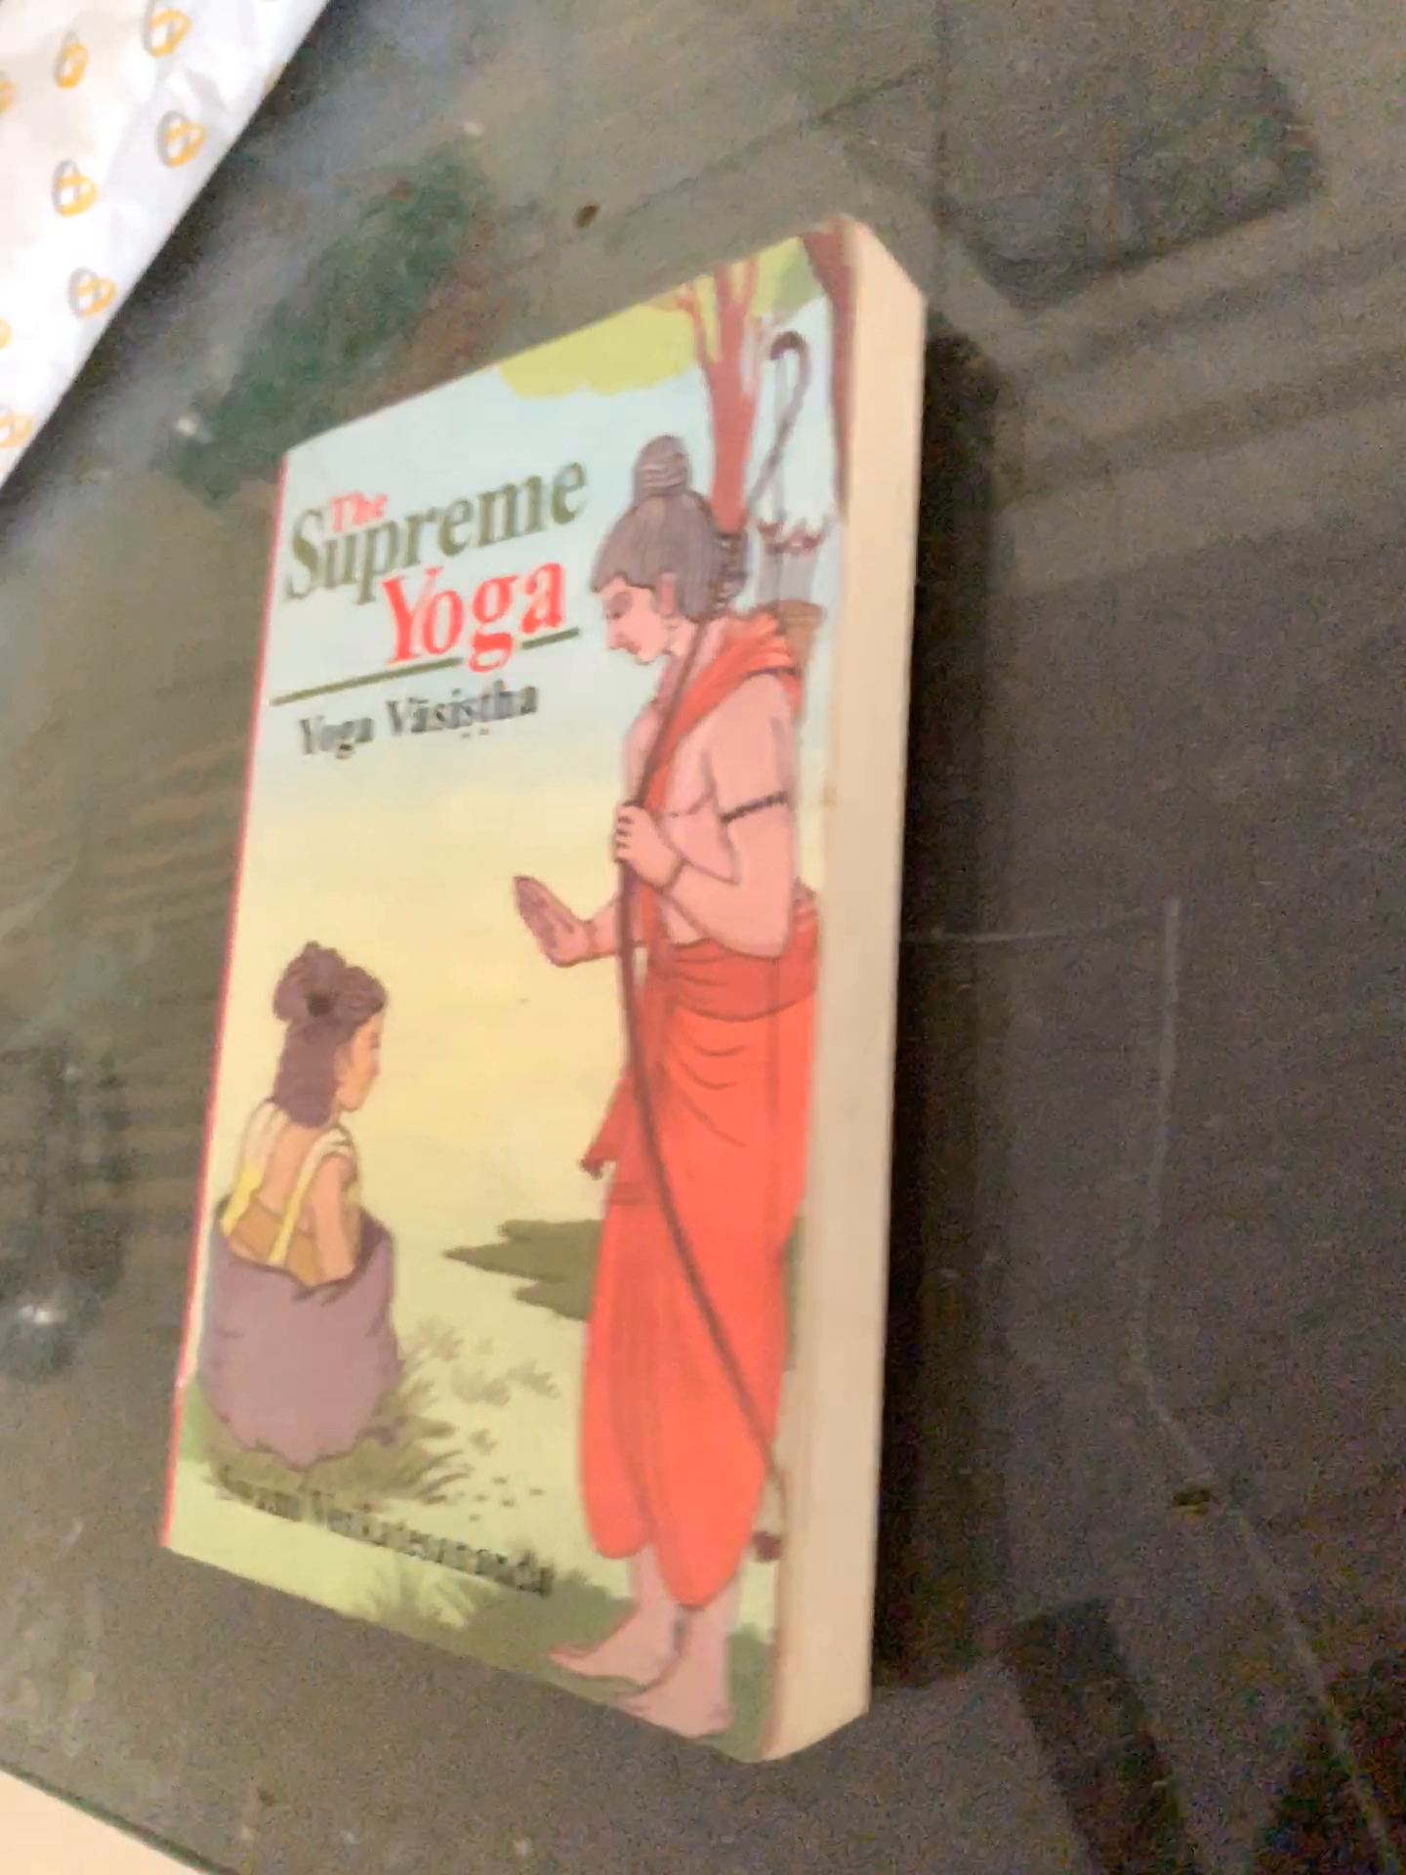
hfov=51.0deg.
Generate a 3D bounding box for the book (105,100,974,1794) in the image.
[{"bbox_3d":[-0.029,-0.003,0.234,0.141,0.030,0.210,-5,76,38],"label":"book"}]
